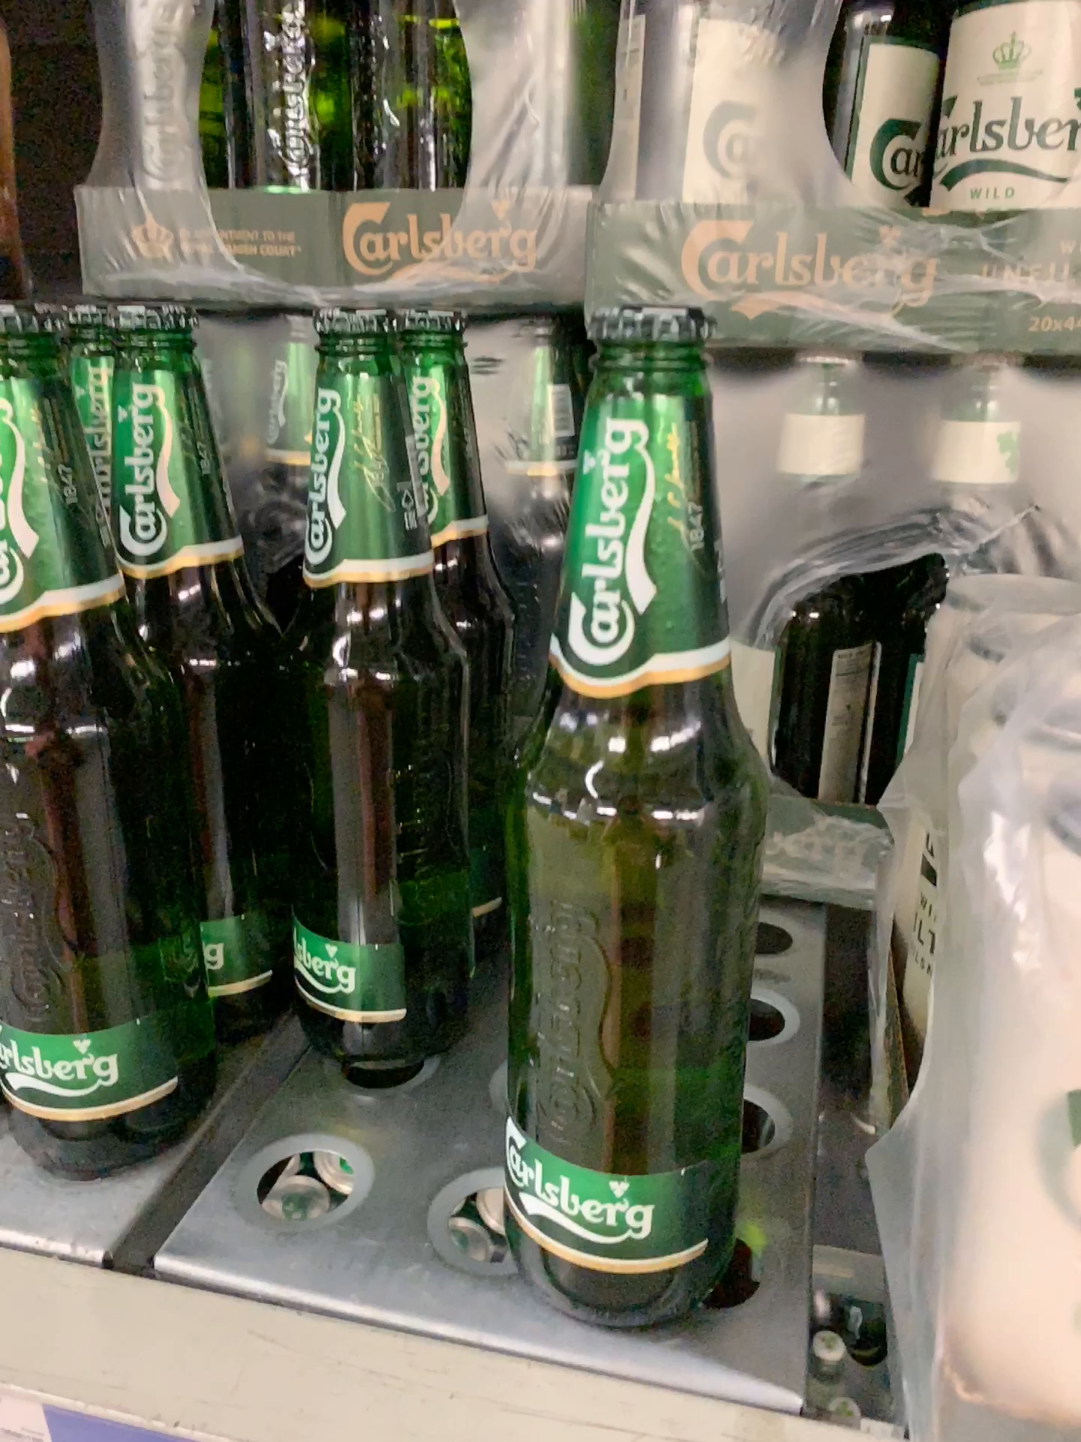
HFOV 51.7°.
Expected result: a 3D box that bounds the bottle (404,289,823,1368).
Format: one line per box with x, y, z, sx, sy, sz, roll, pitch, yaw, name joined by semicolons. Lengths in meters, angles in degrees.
0.016;0.028;0.275;0.071;0.249;0.060;9;21;22;bottle
